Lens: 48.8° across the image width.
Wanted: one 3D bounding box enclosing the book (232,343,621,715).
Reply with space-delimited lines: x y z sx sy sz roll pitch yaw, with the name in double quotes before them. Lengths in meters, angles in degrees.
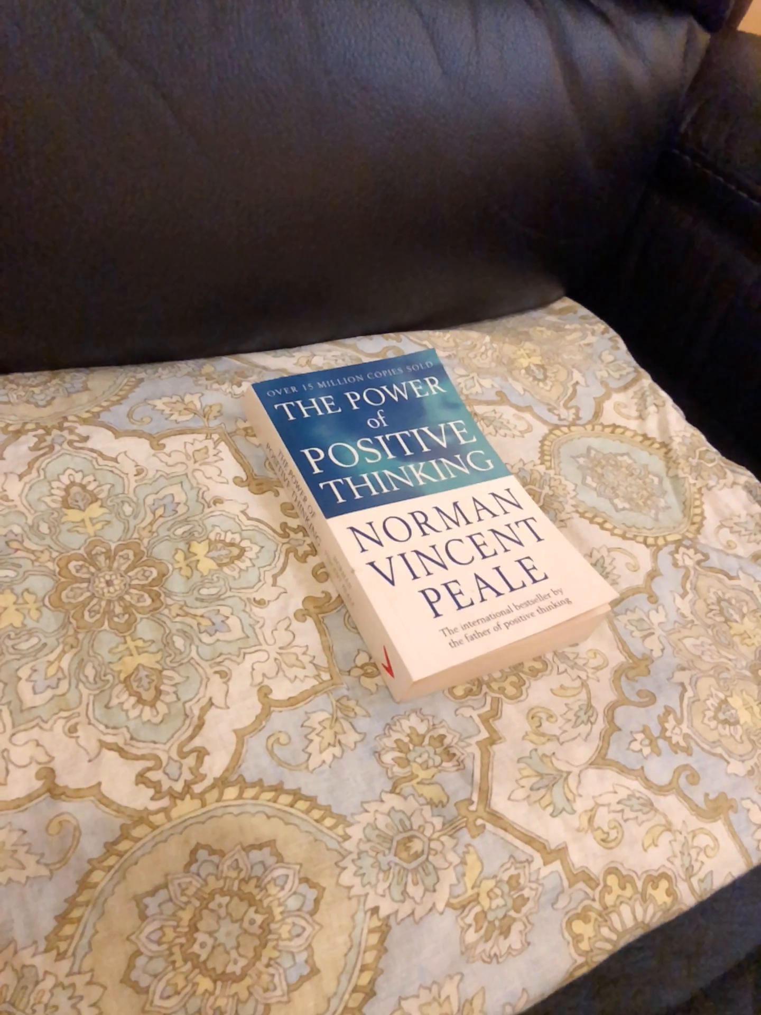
"book" 0.018 -0.002 0.423 0.120 0.030 0.183 -14 59 -30
